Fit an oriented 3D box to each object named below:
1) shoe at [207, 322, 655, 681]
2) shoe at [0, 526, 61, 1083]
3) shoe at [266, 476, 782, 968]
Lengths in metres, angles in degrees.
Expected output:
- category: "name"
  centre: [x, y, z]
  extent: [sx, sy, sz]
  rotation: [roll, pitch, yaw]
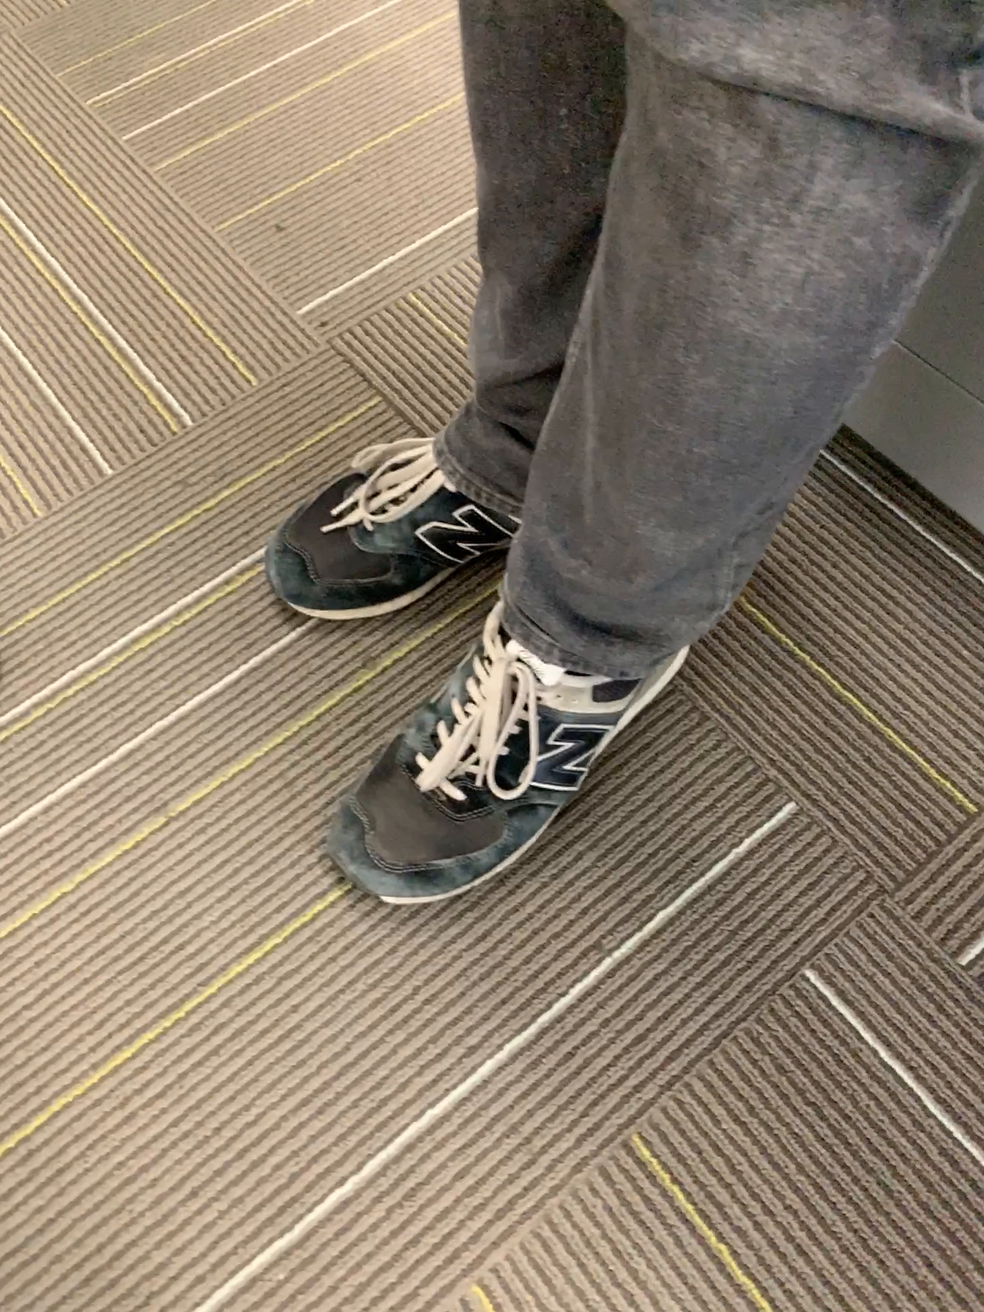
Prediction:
- category: "shoe"
  centre: [-0.041, -0.116, 0.736]
  extent: [0.279, 0.085, 0.138]
  rotation: [-26, 63, -11]
- category: "shoe"
  centre: [-0.462, 0.084, 0.652]
  extent: [0.134, 0.087, 0.327]
  rotation: [30, 67, 19]
- category: "shoe"
  centre: [0.027, 0.035, 0.661]
  extent: [0.315, 0.087, 0.131]
  rotation: [-40, 66, -17]
